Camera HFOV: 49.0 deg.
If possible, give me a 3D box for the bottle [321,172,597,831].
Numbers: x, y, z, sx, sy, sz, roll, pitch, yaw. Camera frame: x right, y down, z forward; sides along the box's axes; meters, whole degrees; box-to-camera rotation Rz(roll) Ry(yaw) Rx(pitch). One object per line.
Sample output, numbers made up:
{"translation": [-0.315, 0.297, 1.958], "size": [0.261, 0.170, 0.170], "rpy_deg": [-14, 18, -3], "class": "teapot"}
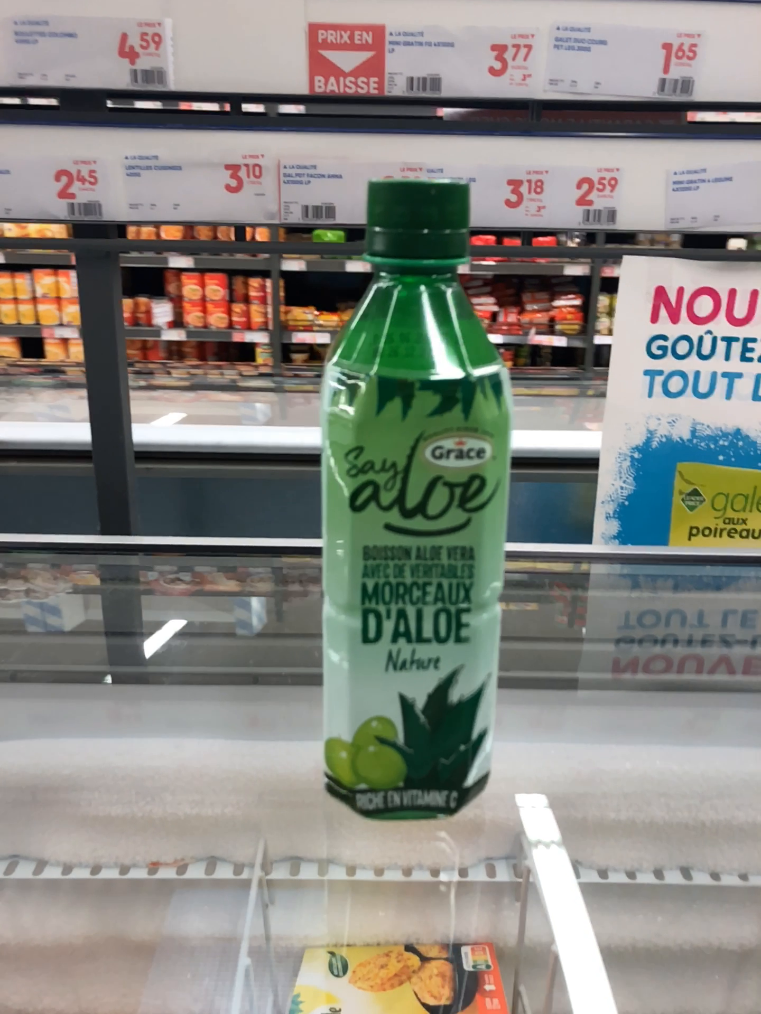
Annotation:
{"translation": [0.016, -0.001, 0.275], "size": [0.070, 0.199, 0.070], "rpy_deg": [1, 19, 0], "class": "bottle"}
